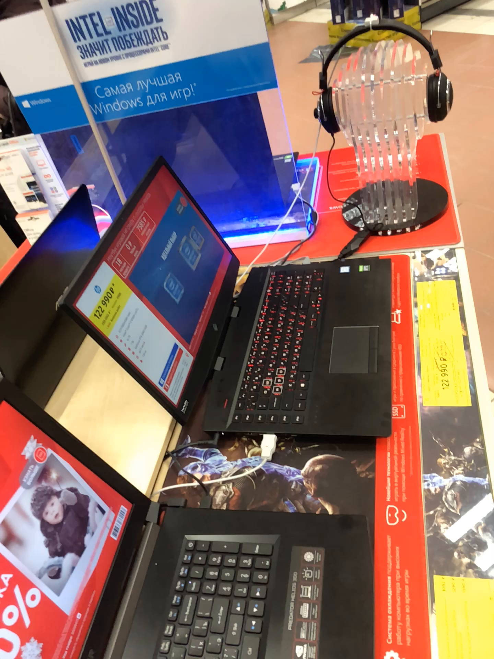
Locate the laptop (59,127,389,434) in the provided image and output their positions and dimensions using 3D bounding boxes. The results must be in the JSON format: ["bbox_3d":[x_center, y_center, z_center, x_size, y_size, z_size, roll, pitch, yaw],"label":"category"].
[{"bbox_3d":[0.015,-0.084,0.827,0.375,0.246,0.393,-2,42,17],"label":"laptop"}]
